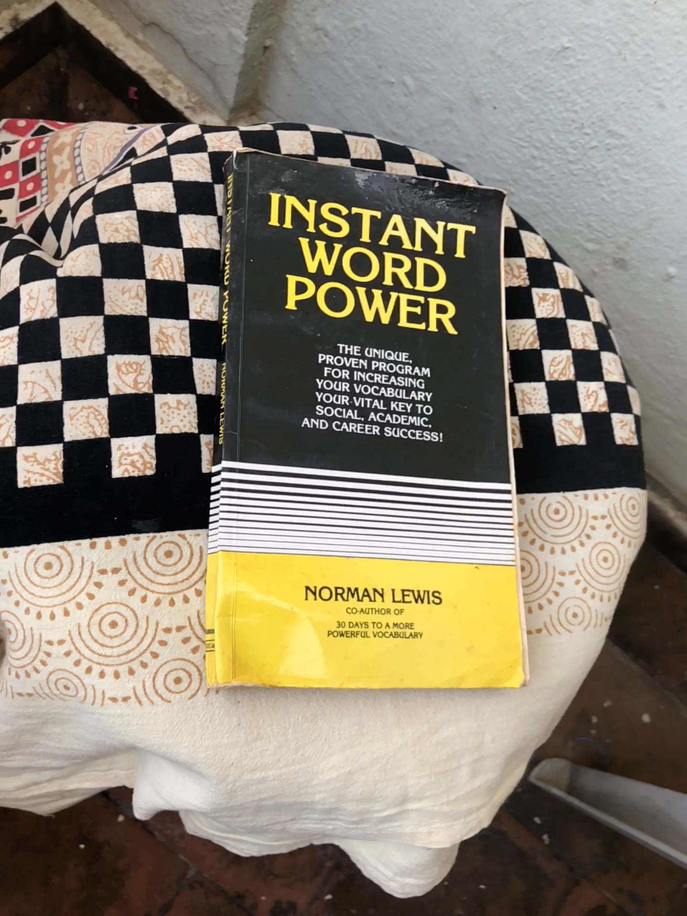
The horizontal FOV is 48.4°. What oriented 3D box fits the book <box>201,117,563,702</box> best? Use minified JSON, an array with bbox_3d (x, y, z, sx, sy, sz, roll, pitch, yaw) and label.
[{"bbox_3d":[0.018,-0.031,0.402,0.160,0.040,0.300,6,68,-16],"label":"book"}]
